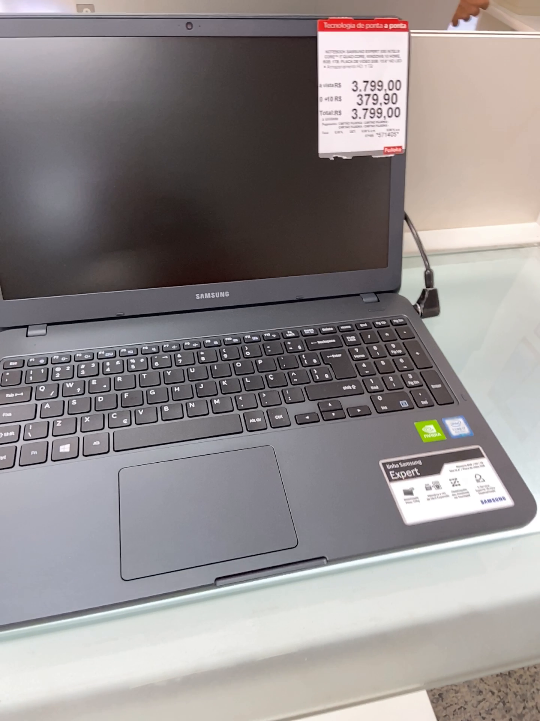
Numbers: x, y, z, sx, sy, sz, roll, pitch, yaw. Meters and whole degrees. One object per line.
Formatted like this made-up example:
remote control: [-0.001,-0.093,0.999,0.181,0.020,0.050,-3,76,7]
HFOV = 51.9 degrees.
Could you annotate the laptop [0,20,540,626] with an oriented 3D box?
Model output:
laptop: [-0.030,-0.068,0.380,0.363,0.208,0.343,-7,45,-11]
